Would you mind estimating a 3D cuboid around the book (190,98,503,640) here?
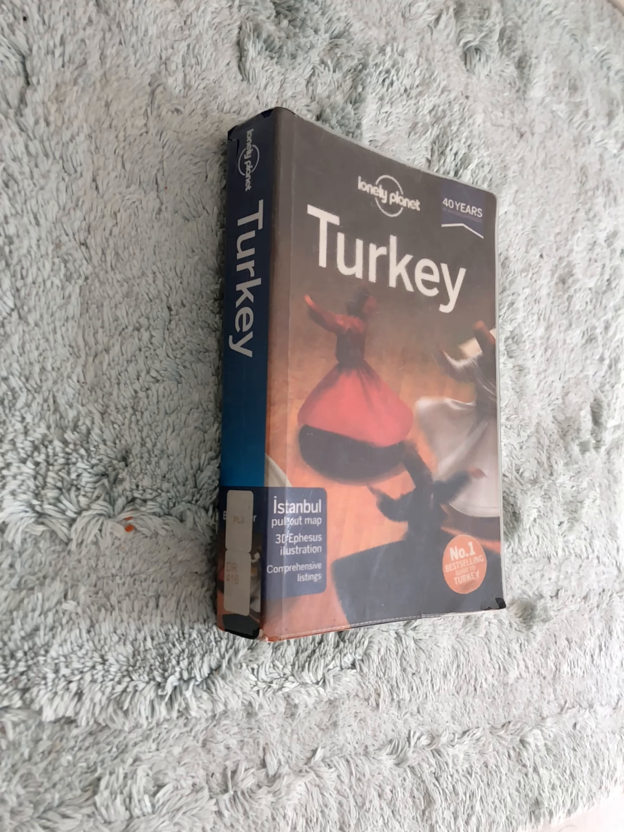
[{"bbox_3d":[0.022,-0.013,0.299,0.131,0.046,0.190,6,83,-38],"label":"book"}]
